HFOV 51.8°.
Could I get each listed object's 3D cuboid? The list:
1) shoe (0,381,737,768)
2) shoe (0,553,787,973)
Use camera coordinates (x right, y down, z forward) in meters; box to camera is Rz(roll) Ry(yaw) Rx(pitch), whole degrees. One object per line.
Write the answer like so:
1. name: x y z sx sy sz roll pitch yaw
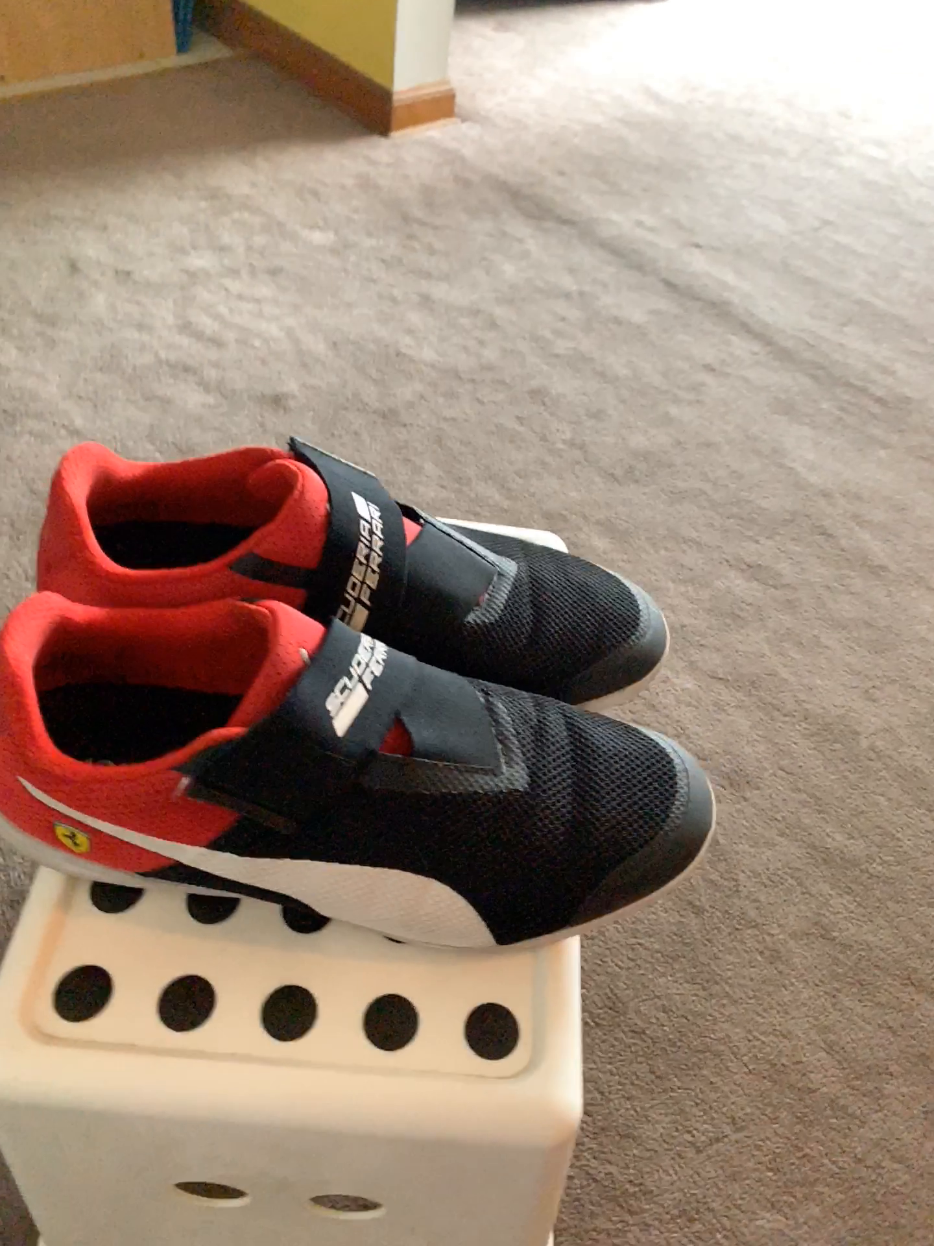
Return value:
1. shoe: -0.045 -0.021 0.448 0.300 0.099 0.111 6 48 -4
2. shoe: -0.045 0.059 0.385 0.300 0.099 0.101 6 48 -4
